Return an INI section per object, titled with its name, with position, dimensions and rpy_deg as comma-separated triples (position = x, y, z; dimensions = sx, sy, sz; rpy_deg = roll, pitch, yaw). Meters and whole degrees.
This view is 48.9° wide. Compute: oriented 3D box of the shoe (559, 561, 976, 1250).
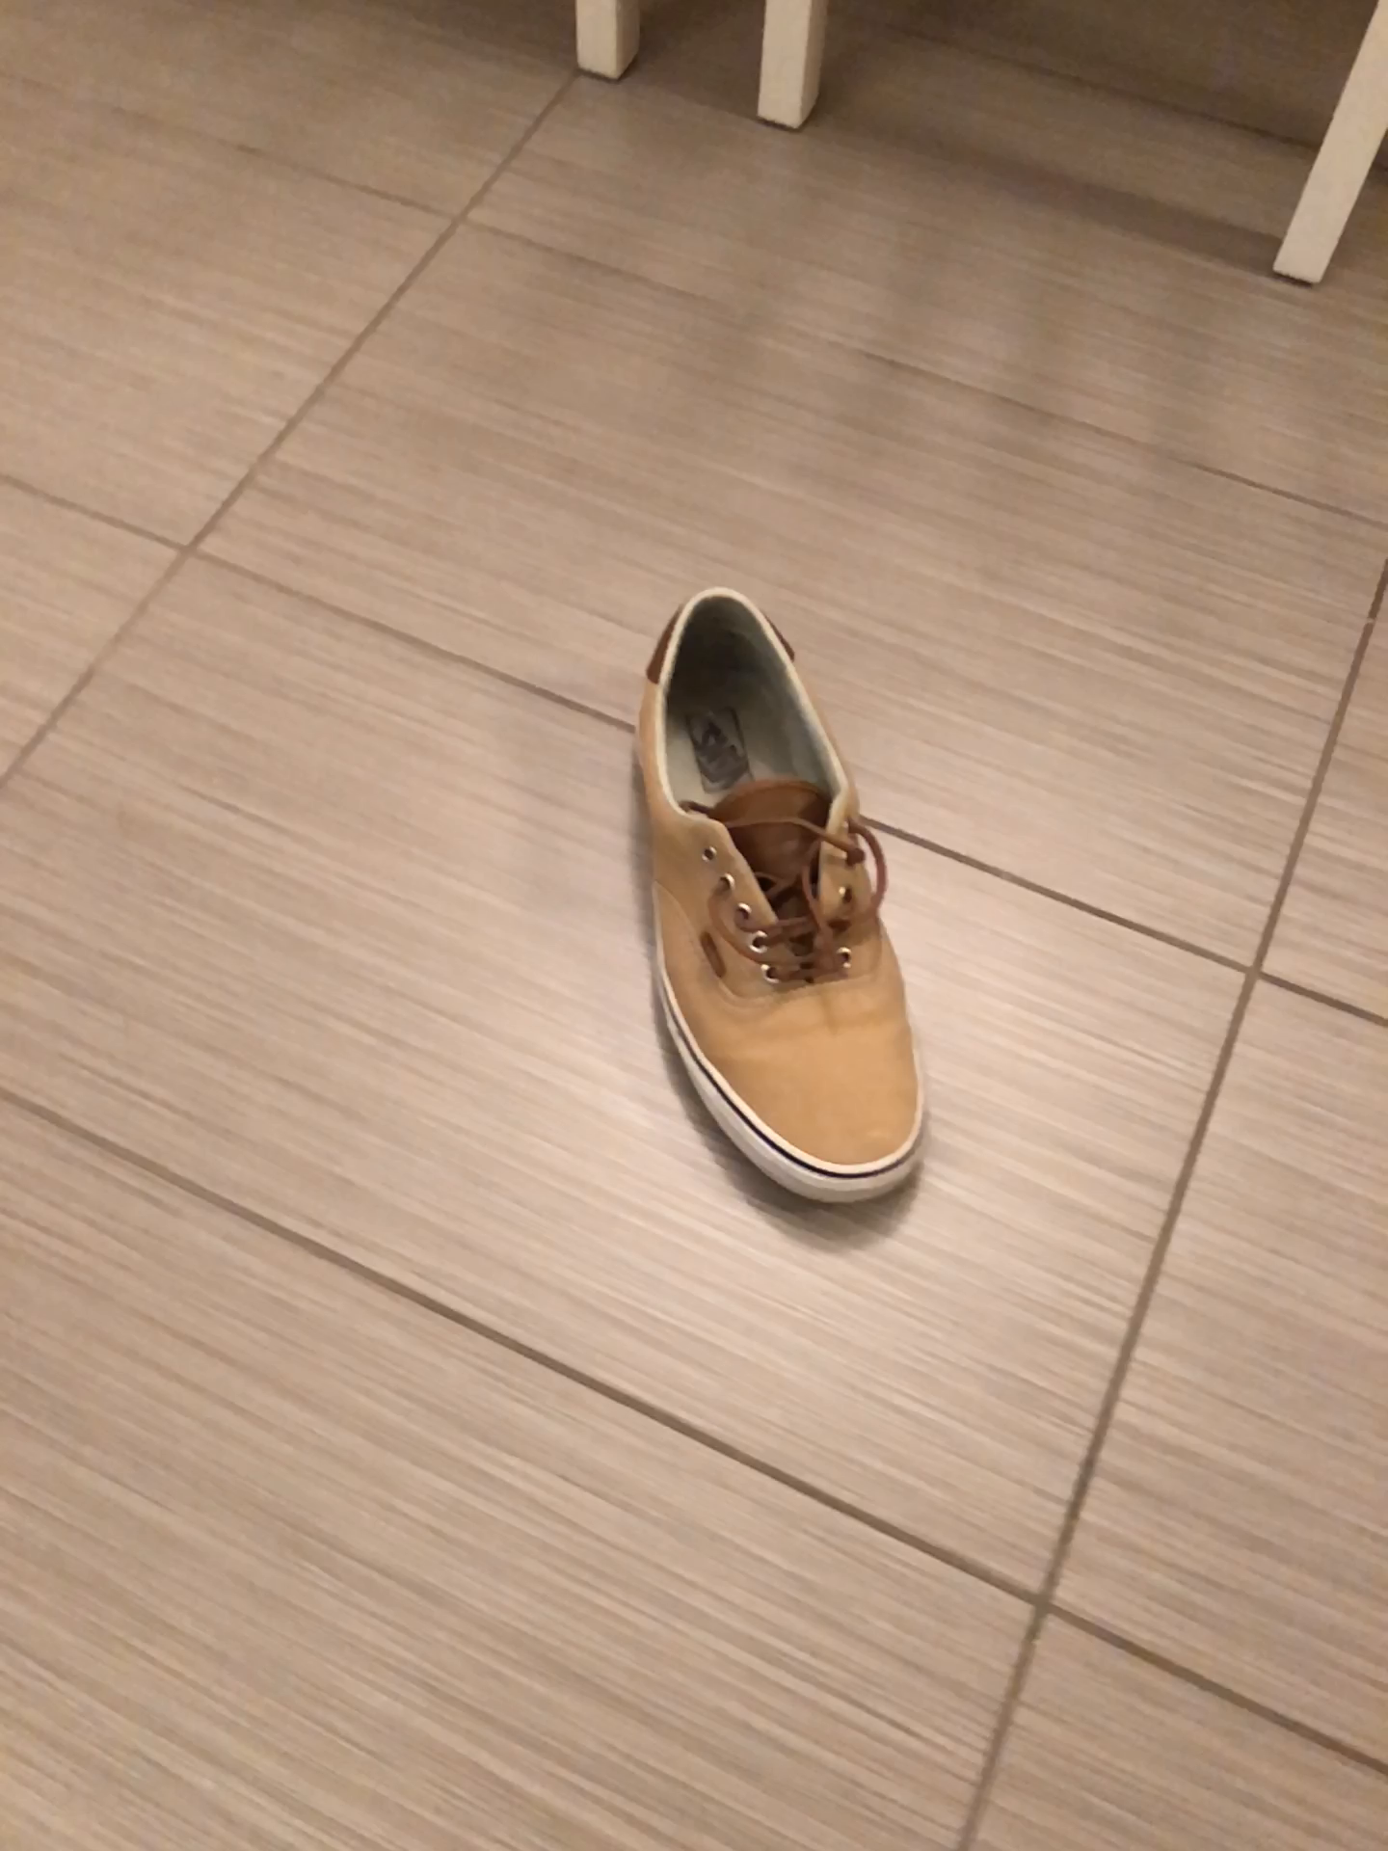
[shoe]
position = 0.024, -0.020, 0.710
dimensions = 0.110, 0.070, 0.311
rpy_deg = -12, 62, -6
